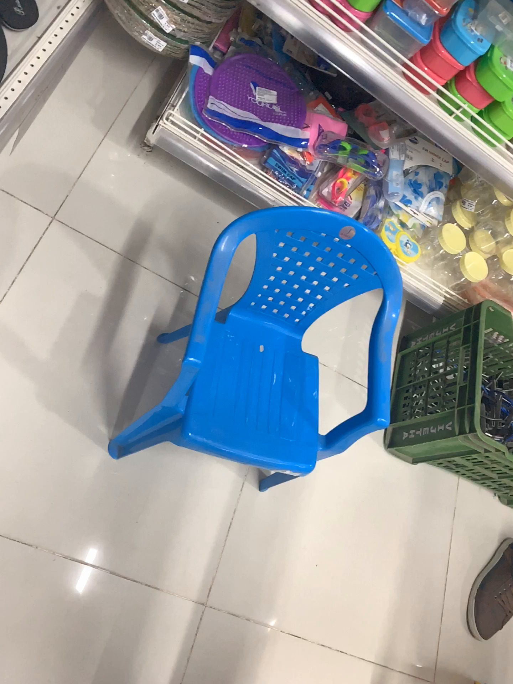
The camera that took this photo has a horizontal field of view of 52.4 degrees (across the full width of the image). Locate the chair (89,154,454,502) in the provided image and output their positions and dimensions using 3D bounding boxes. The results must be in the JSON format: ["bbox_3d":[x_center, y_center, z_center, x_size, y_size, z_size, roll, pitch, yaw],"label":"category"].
[{"bbox_3d":[0.002,0.046,0.920,0.401,0.509,0.360,20,65,-21],"label":"chair"}]
